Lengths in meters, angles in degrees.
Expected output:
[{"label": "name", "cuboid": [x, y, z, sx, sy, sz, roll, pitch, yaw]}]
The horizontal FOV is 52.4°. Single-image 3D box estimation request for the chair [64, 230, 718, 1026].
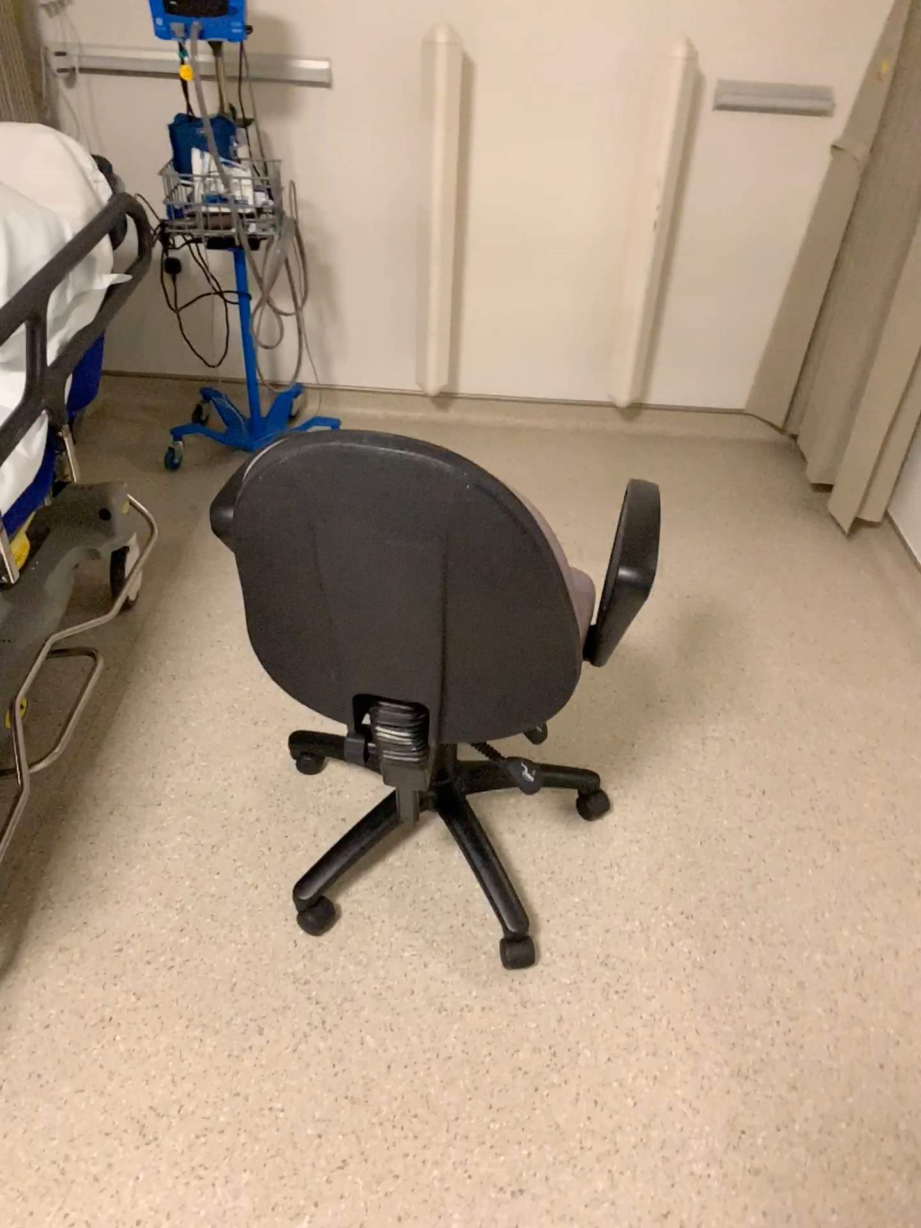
[{"label": "chair", "cuboid": [-0.031, -0.010, 1.457, 0.650, 0.882, 0.716, 11, 37, 10]}]
